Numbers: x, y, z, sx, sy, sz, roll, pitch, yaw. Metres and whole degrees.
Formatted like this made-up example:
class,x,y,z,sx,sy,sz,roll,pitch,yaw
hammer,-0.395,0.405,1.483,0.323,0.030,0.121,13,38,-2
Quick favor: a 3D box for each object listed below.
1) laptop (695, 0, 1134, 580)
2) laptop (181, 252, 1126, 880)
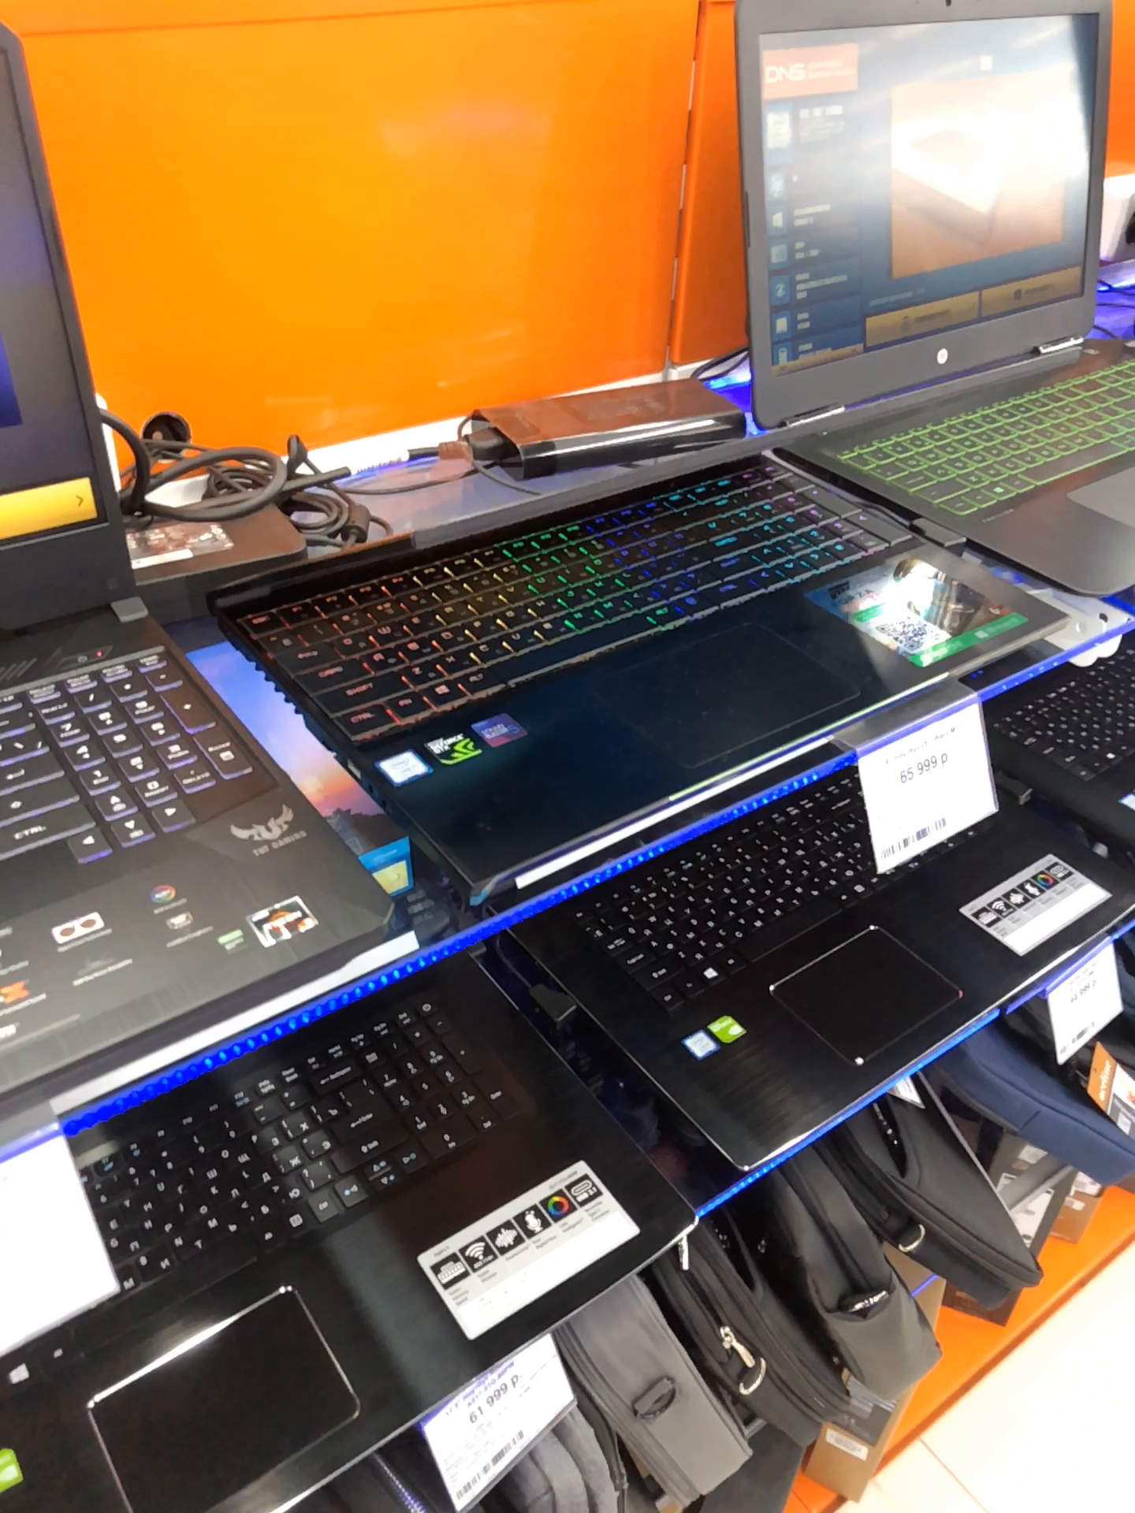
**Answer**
class,x,y,z,sx,sy,sz,roll,pitch,yaw
laptop,0.324,-0.322,0.777,0.335,0.252,0.307,-23,42,-30
laptop,0.043,-0.122,0.596,0.360,0.118,0.234,-23,45,-29
